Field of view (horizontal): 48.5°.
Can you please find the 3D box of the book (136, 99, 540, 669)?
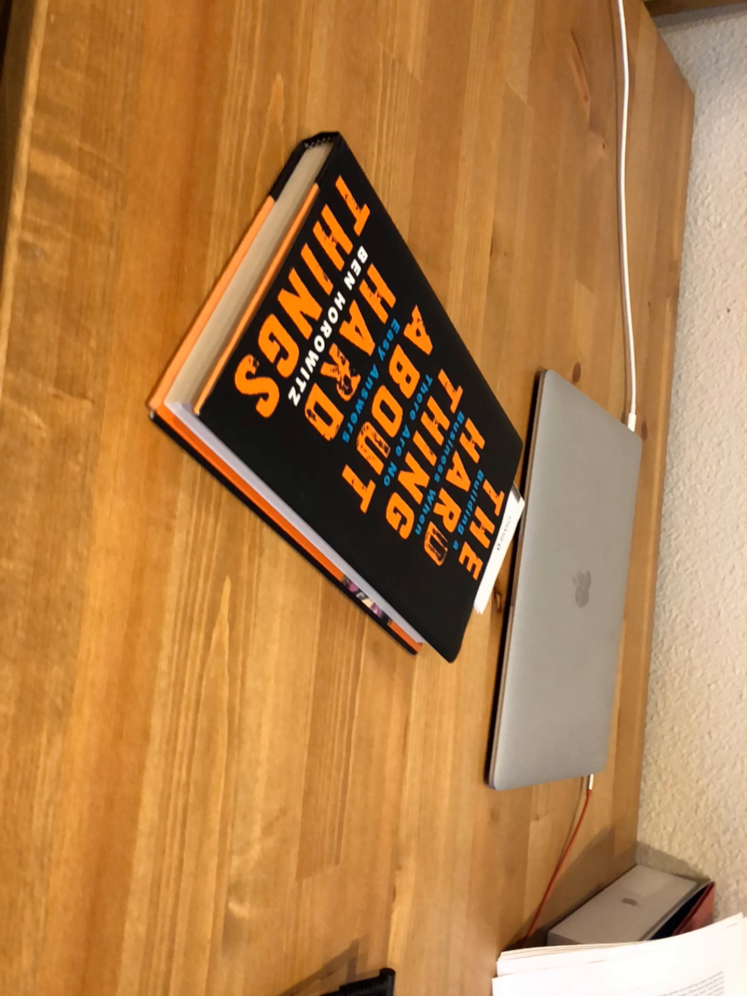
[{"bbox_3d":[0.008,-0.038,0.393,0.221,0.030,0.160,48,54,-45],"label":"book"}]
